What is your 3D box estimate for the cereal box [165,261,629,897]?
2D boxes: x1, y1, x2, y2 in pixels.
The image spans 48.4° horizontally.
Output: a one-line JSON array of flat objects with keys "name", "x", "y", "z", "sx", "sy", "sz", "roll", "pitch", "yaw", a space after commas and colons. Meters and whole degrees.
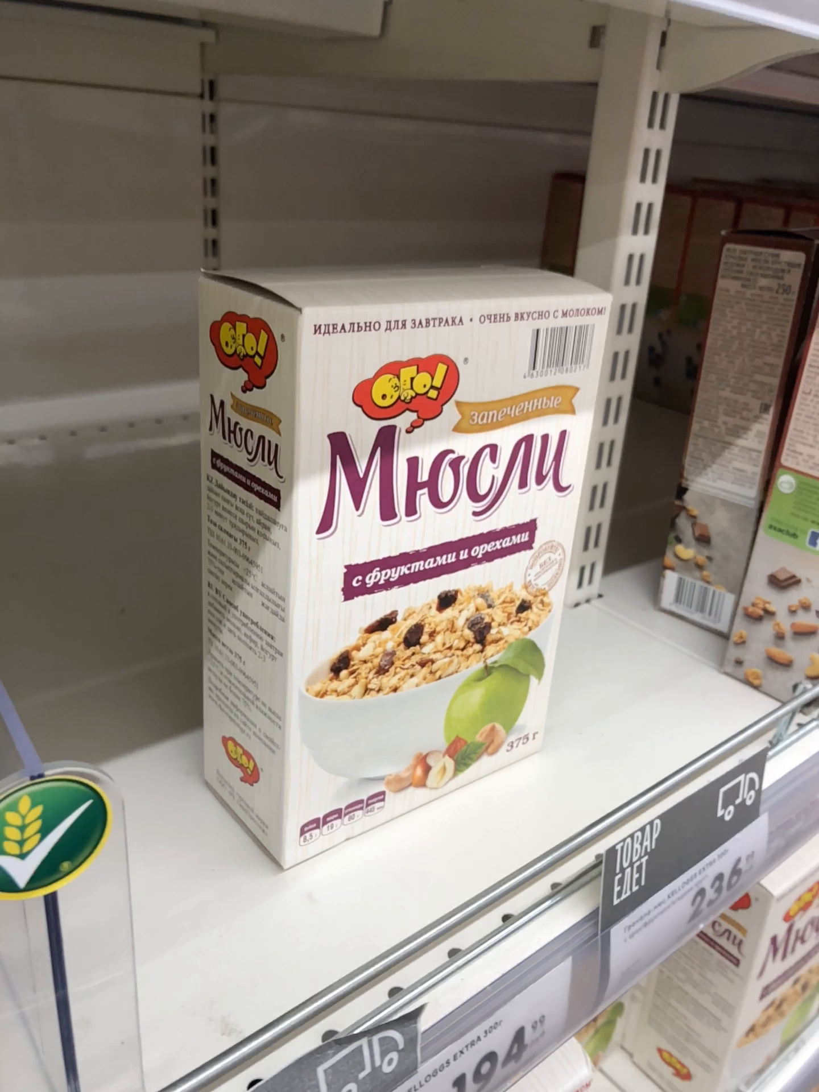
[{"name": "cereal box", "x": -0.007, "y": 0.003, "z": 0.341, "sx": 0.140, "sy": 0.199, "sz": 0.070, "roll": -14, "pitch": 29, "yaw": -36}]
